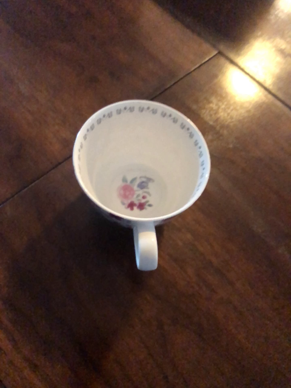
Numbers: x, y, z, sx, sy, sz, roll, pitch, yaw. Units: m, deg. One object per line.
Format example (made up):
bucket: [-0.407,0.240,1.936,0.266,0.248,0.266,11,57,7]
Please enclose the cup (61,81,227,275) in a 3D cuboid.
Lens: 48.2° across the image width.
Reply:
cup: [-0.007,-0.015,0.299,0.120,0.070,0.160,0,66,-6]
